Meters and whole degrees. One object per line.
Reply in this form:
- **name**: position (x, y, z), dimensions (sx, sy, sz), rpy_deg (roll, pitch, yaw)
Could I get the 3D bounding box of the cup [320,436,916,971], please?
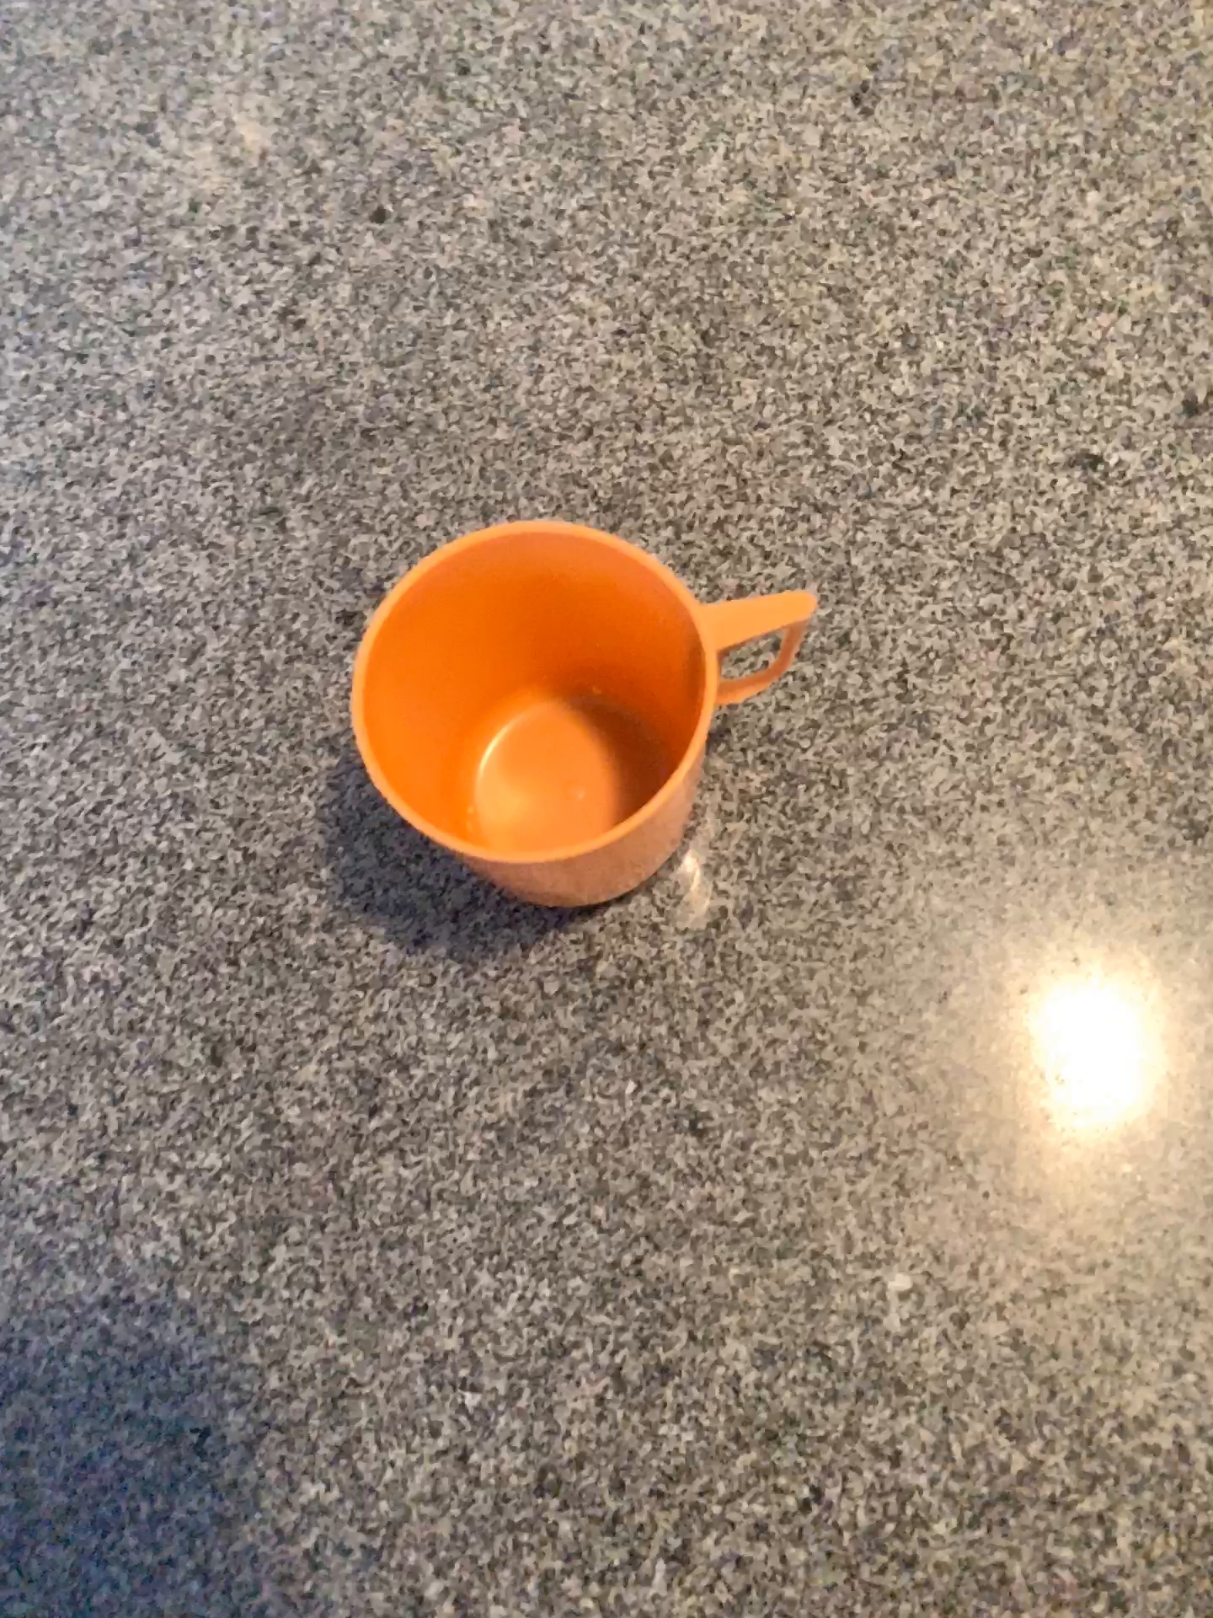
- **cup**: position (0.003, -0.019, 0.299), dimensions (0.110, 0.090, 0.080), rpy_deg (-12, 73, 1)
